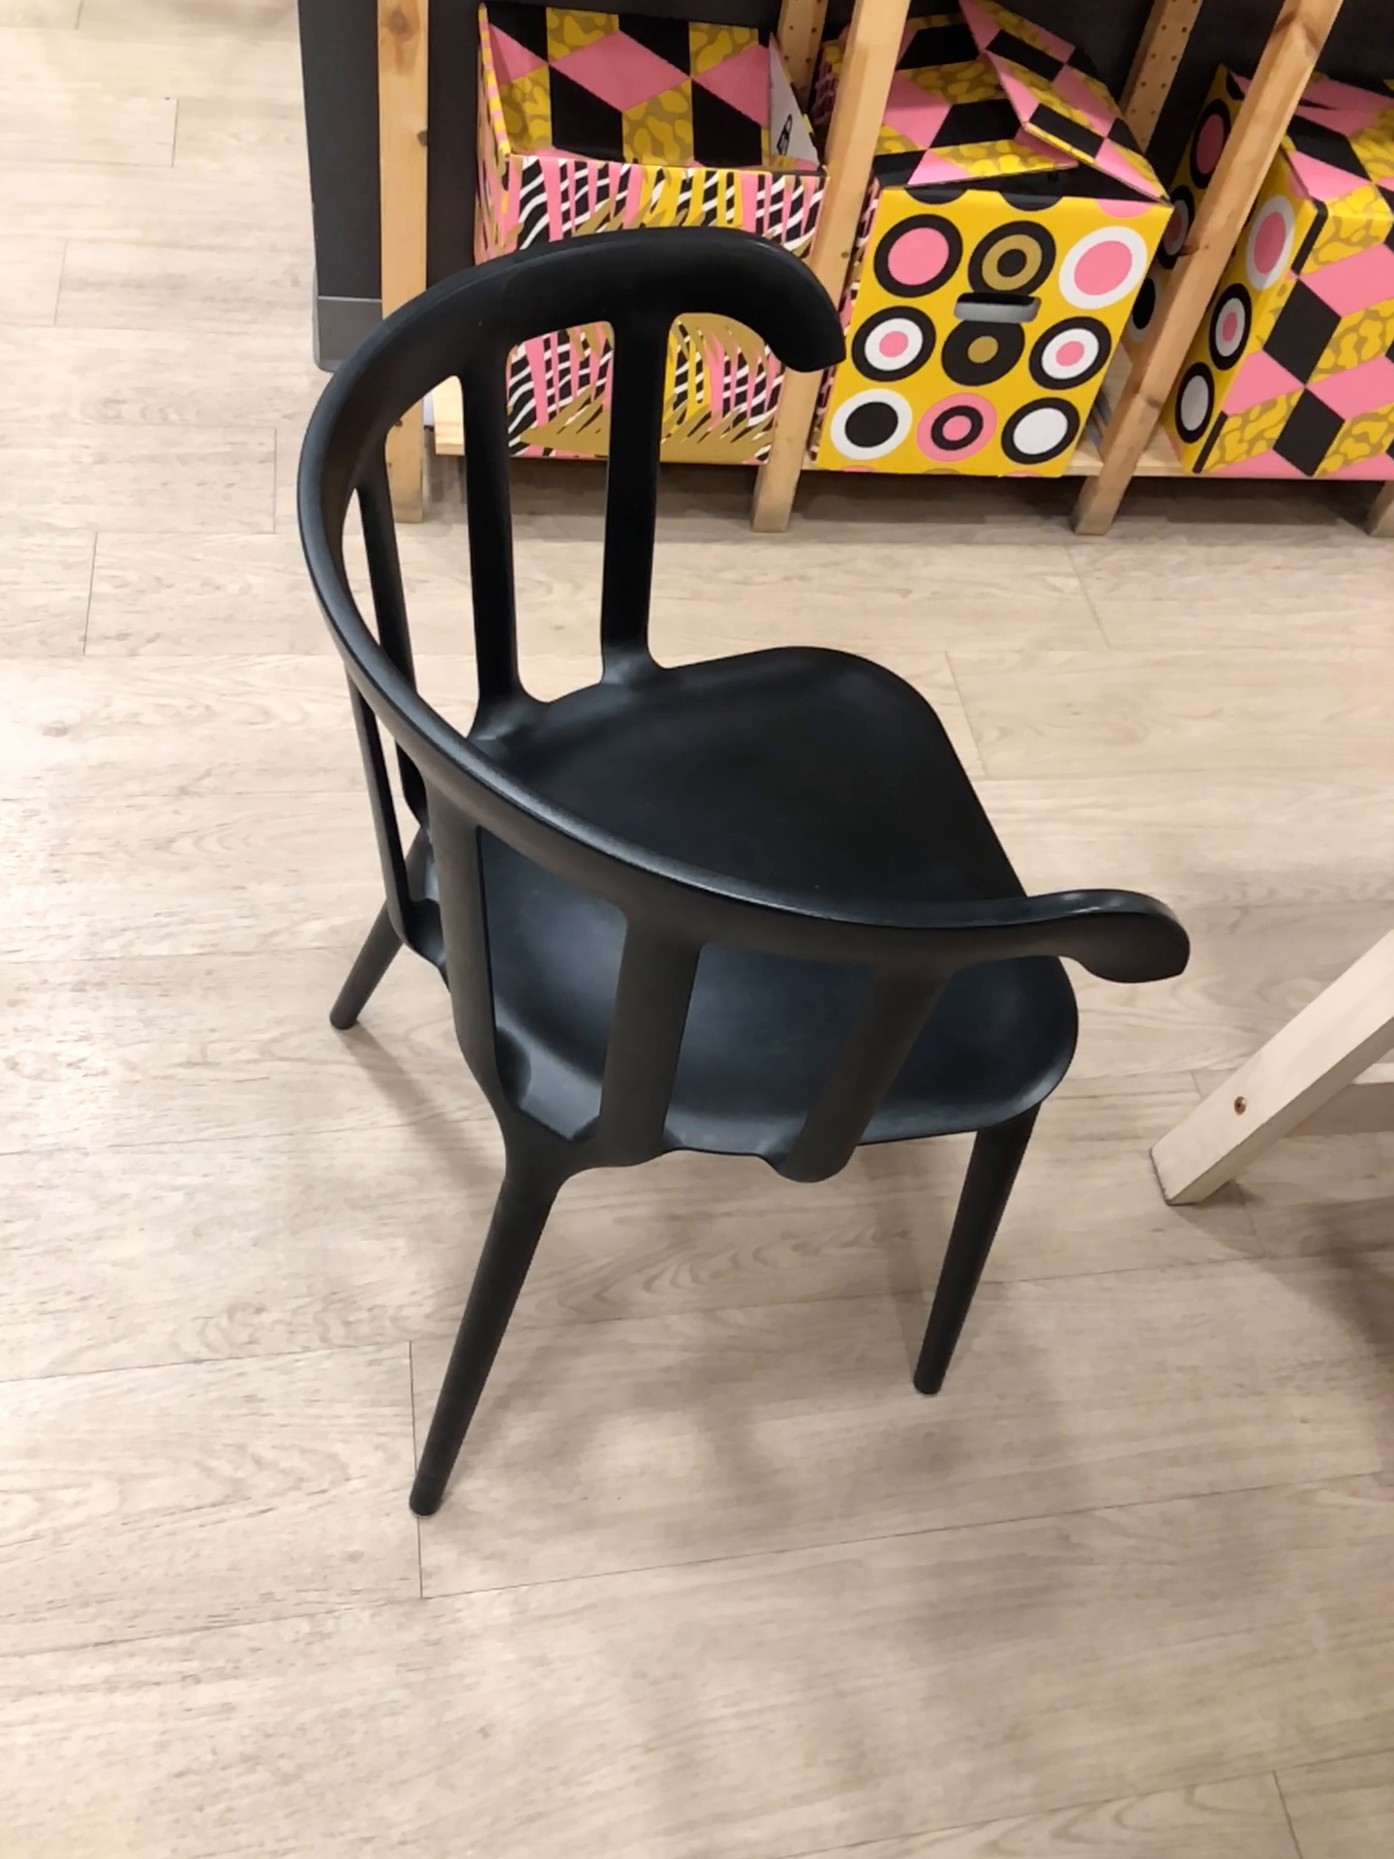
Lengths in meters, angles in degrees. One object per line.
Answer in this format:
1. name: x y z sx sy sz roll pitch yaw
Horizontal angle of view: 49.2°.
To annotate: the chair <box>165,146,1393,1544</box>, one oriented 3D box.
1. chair: -0.001 -0.029 0.988 0.530 0.686 0.533 -8 55 -15
